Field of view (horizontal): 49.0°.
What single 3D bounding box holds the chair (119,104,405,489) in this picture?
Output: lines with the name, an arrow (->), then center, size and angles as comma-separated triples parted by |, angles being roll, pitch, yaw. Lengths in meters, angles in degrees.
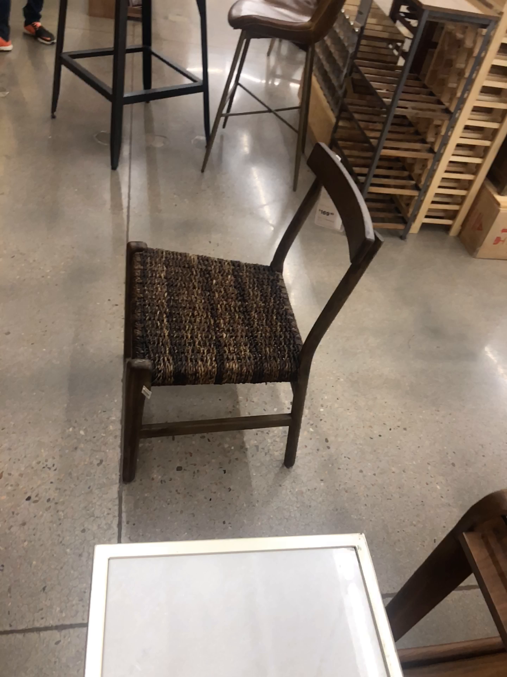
chair -> -0.077, -0.072, 1.479 | 0.533, 0.816, 0.551 | 1, 45, -13
